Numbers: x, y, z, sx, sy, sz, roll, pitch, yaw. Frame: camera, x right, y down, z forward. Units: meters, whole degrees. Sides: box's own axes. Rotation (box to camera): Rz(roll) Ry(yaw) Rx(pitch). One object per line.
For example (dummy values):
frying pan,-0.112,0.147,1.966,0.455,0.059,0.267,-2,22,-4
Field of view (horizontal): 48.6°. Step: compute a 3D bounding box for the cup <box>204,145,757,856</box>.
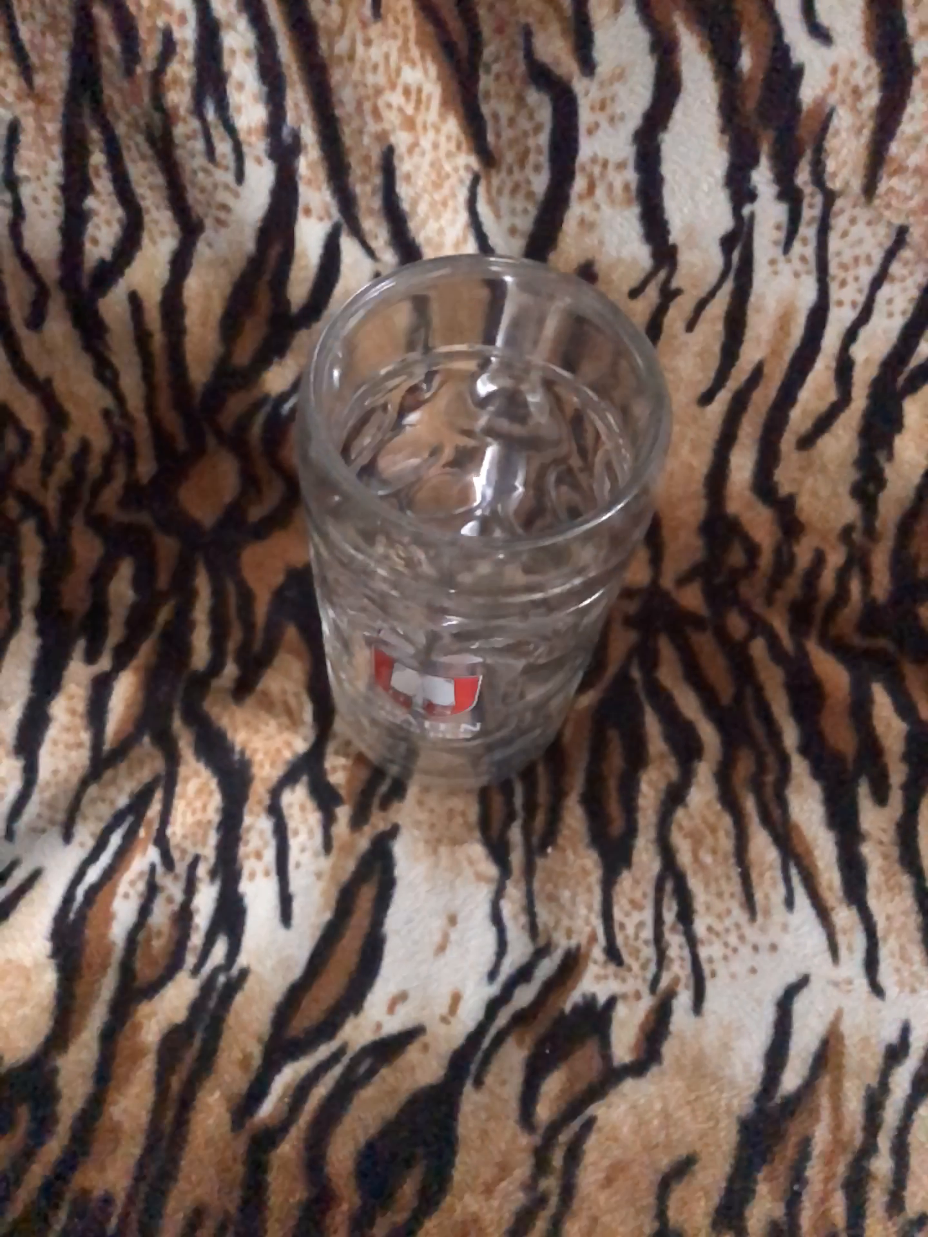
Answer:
cup,0.010,-0.031,0.382,0.120,0.195,0.150,17,60,8
